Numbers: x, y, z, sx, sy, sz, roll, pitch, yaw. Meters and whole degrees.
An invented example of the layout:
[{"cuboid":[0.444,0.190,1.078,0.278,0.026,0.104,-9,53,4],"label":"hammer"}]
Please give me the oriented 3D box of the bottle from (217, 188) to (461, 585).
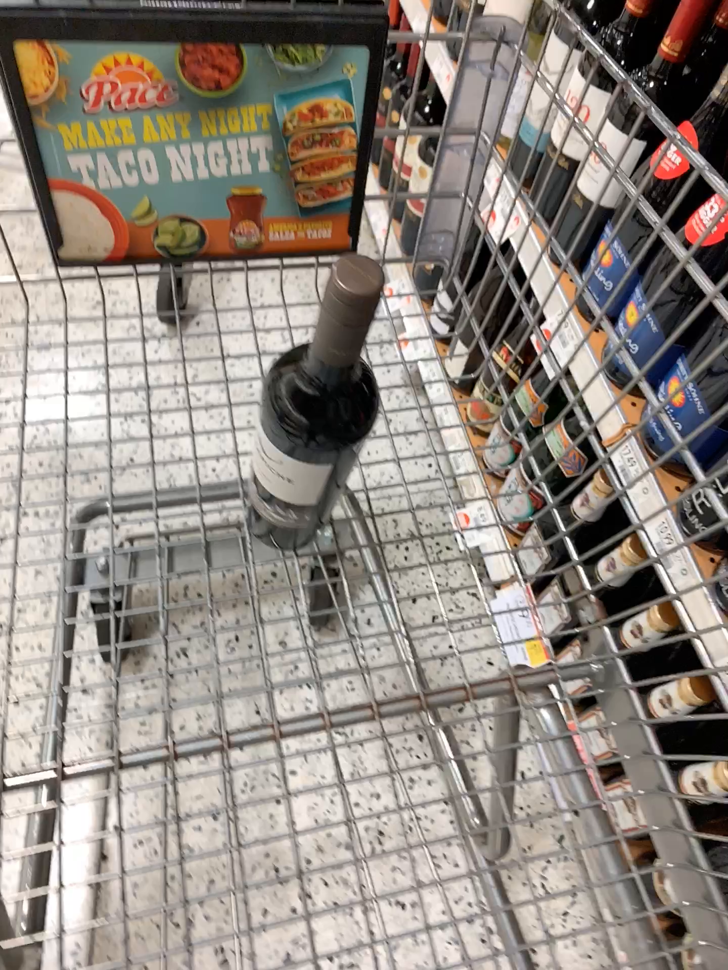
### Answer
[{"cuboid":[-0.038,-0.041,0.511,0.090,0.298,0.090,5,62,-9],"label":"bottle"}]
